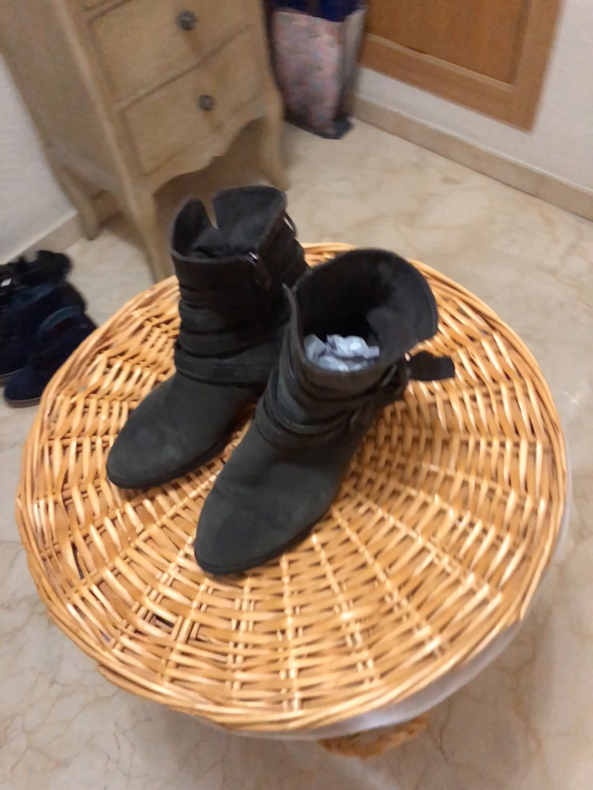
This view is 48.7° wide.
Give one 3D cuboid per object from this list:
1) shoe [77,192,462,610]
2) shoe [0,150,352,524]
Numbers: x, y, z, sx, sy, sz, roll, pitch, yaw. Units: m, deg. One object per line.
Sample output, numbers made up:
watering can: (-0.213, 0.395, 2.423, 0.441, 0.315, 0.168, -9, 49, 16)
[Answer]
shoe: (-0.003, 0.004, 0.503, 0.110, 0.170, 0.260, 34, 65, 25)
shoe: (-0.086, -0.053, 0.561, 0.110, 0.170, 0.260, 30, 64, 32)
